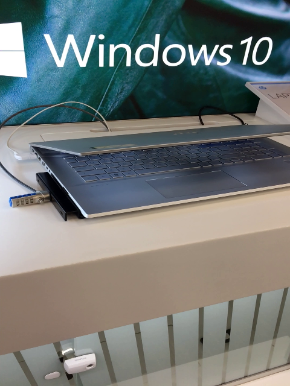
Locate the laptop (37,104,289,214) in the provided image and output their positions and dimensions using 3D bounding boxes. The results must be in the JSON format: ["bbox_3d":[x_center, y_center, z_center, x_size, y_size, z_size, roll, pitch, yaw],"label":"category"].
[{"bbox_3d":[0.078,-0.077,0.637,0.431,0.069,0.222,-8,32,-22],"label":"laptop"}]
